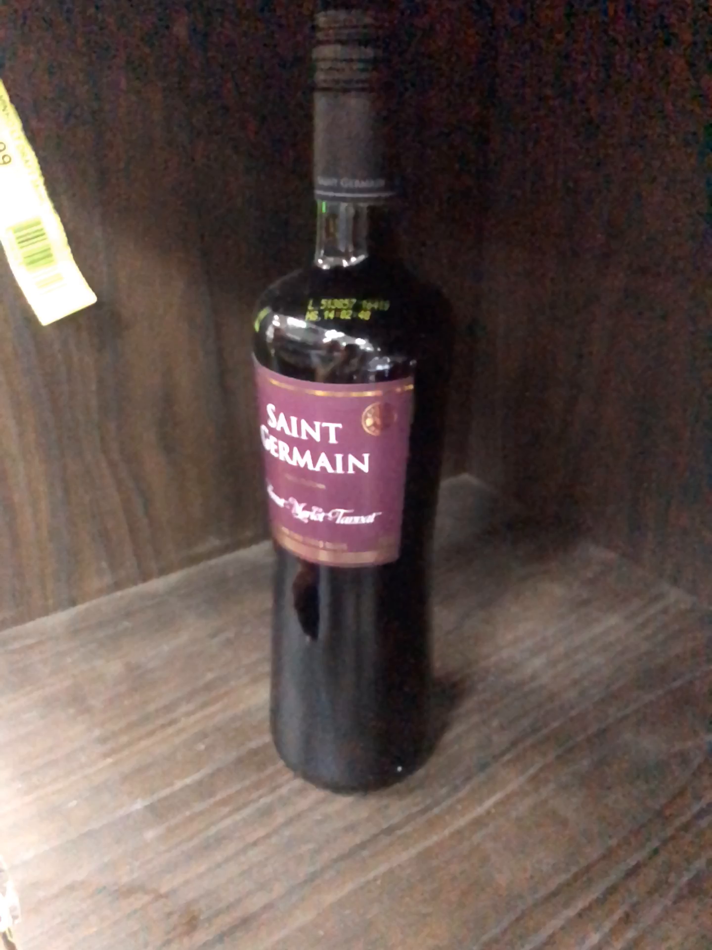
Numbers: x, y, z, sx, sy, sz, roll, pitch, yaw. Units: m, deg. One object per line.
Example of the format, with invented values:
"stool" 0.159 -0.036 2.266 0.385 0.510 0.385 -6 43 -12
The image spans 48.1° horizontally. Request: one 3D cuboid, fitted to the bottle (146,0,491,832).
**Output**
"bottle" -0.007 -0.013 0.306 0.080 0.308 0.070 11 28 22
